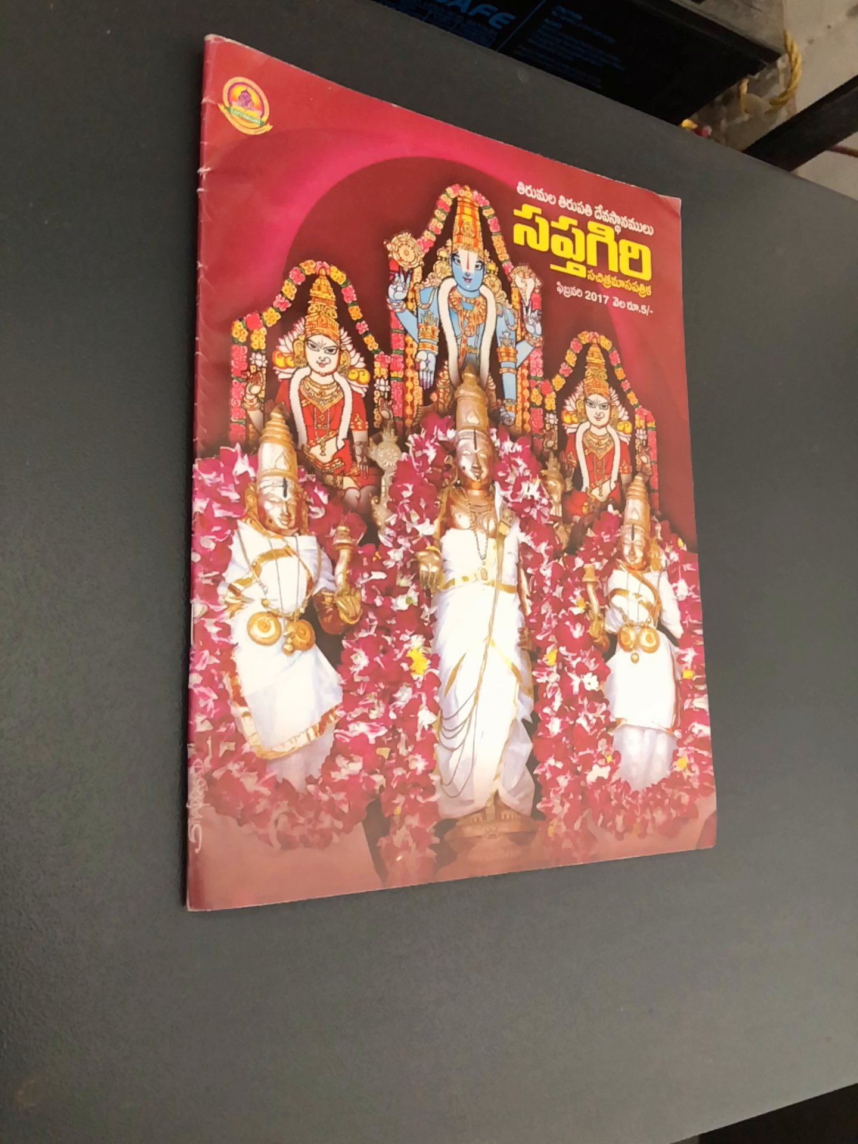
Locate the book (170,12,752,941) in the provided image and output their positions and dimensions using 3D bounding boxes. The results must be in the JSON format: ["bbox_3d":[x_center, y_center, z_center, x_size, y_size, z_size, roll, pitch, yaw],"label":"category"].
[{"bbox_3d":[0.018,-0.028,0.323,0.201,0.030,0.260,3,80,-30],"label":"book"}]
